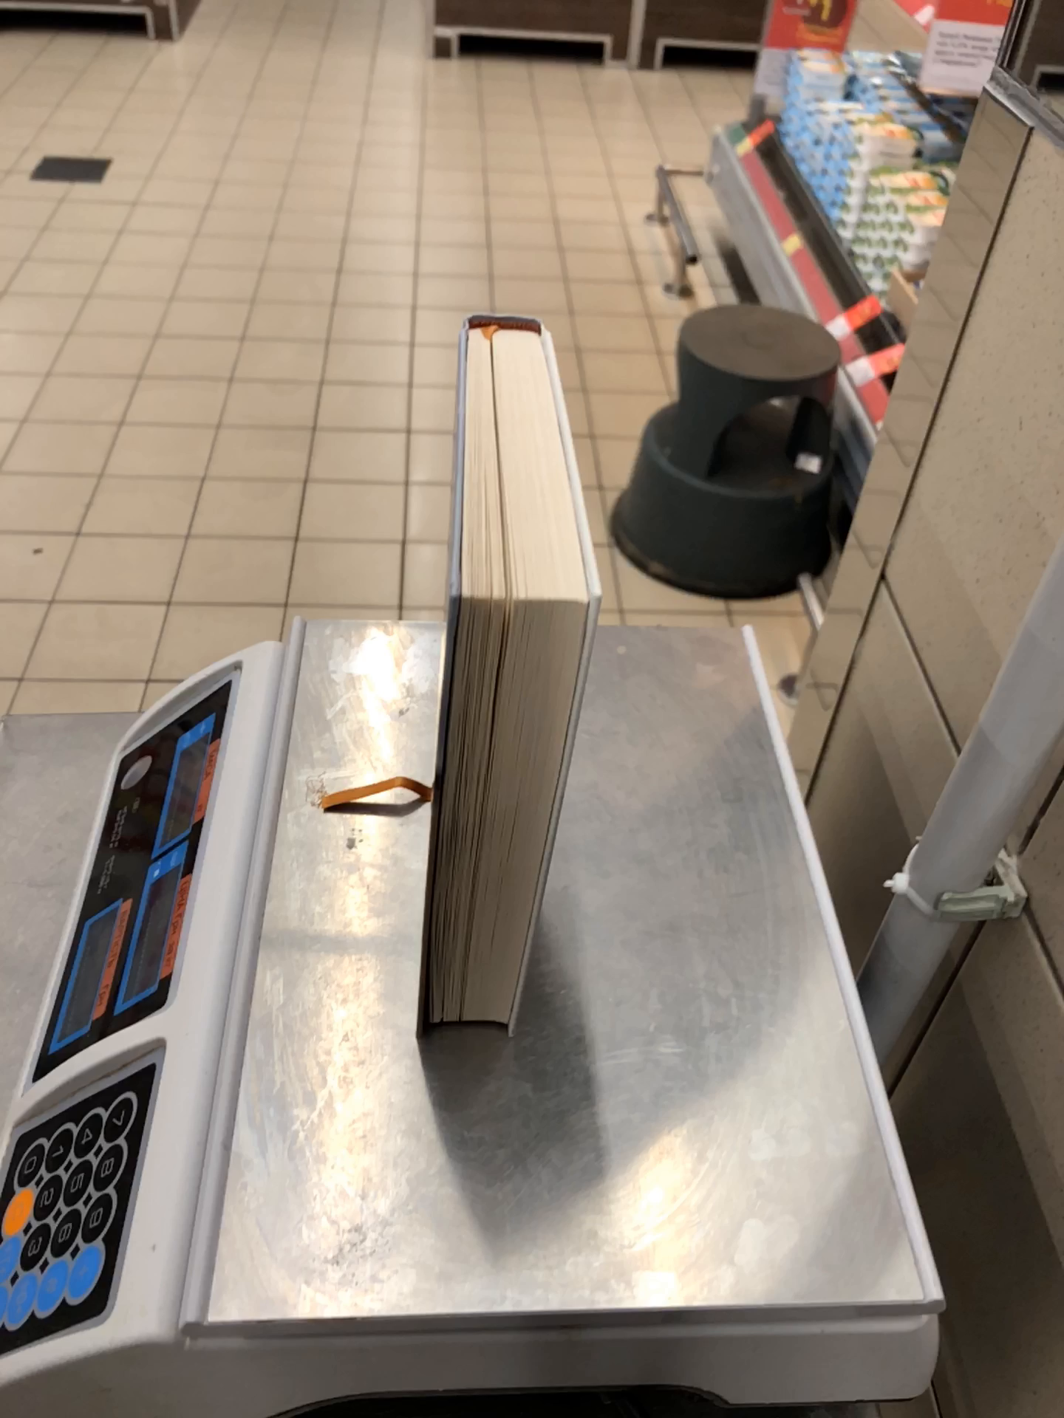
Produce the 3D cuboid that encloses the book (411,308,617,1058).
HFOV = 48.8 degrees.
[{"bbox_3d":[-0.014,-0.003,0.362,0.037,0.186,0.138,2,43,-7],"label":"book"}]
